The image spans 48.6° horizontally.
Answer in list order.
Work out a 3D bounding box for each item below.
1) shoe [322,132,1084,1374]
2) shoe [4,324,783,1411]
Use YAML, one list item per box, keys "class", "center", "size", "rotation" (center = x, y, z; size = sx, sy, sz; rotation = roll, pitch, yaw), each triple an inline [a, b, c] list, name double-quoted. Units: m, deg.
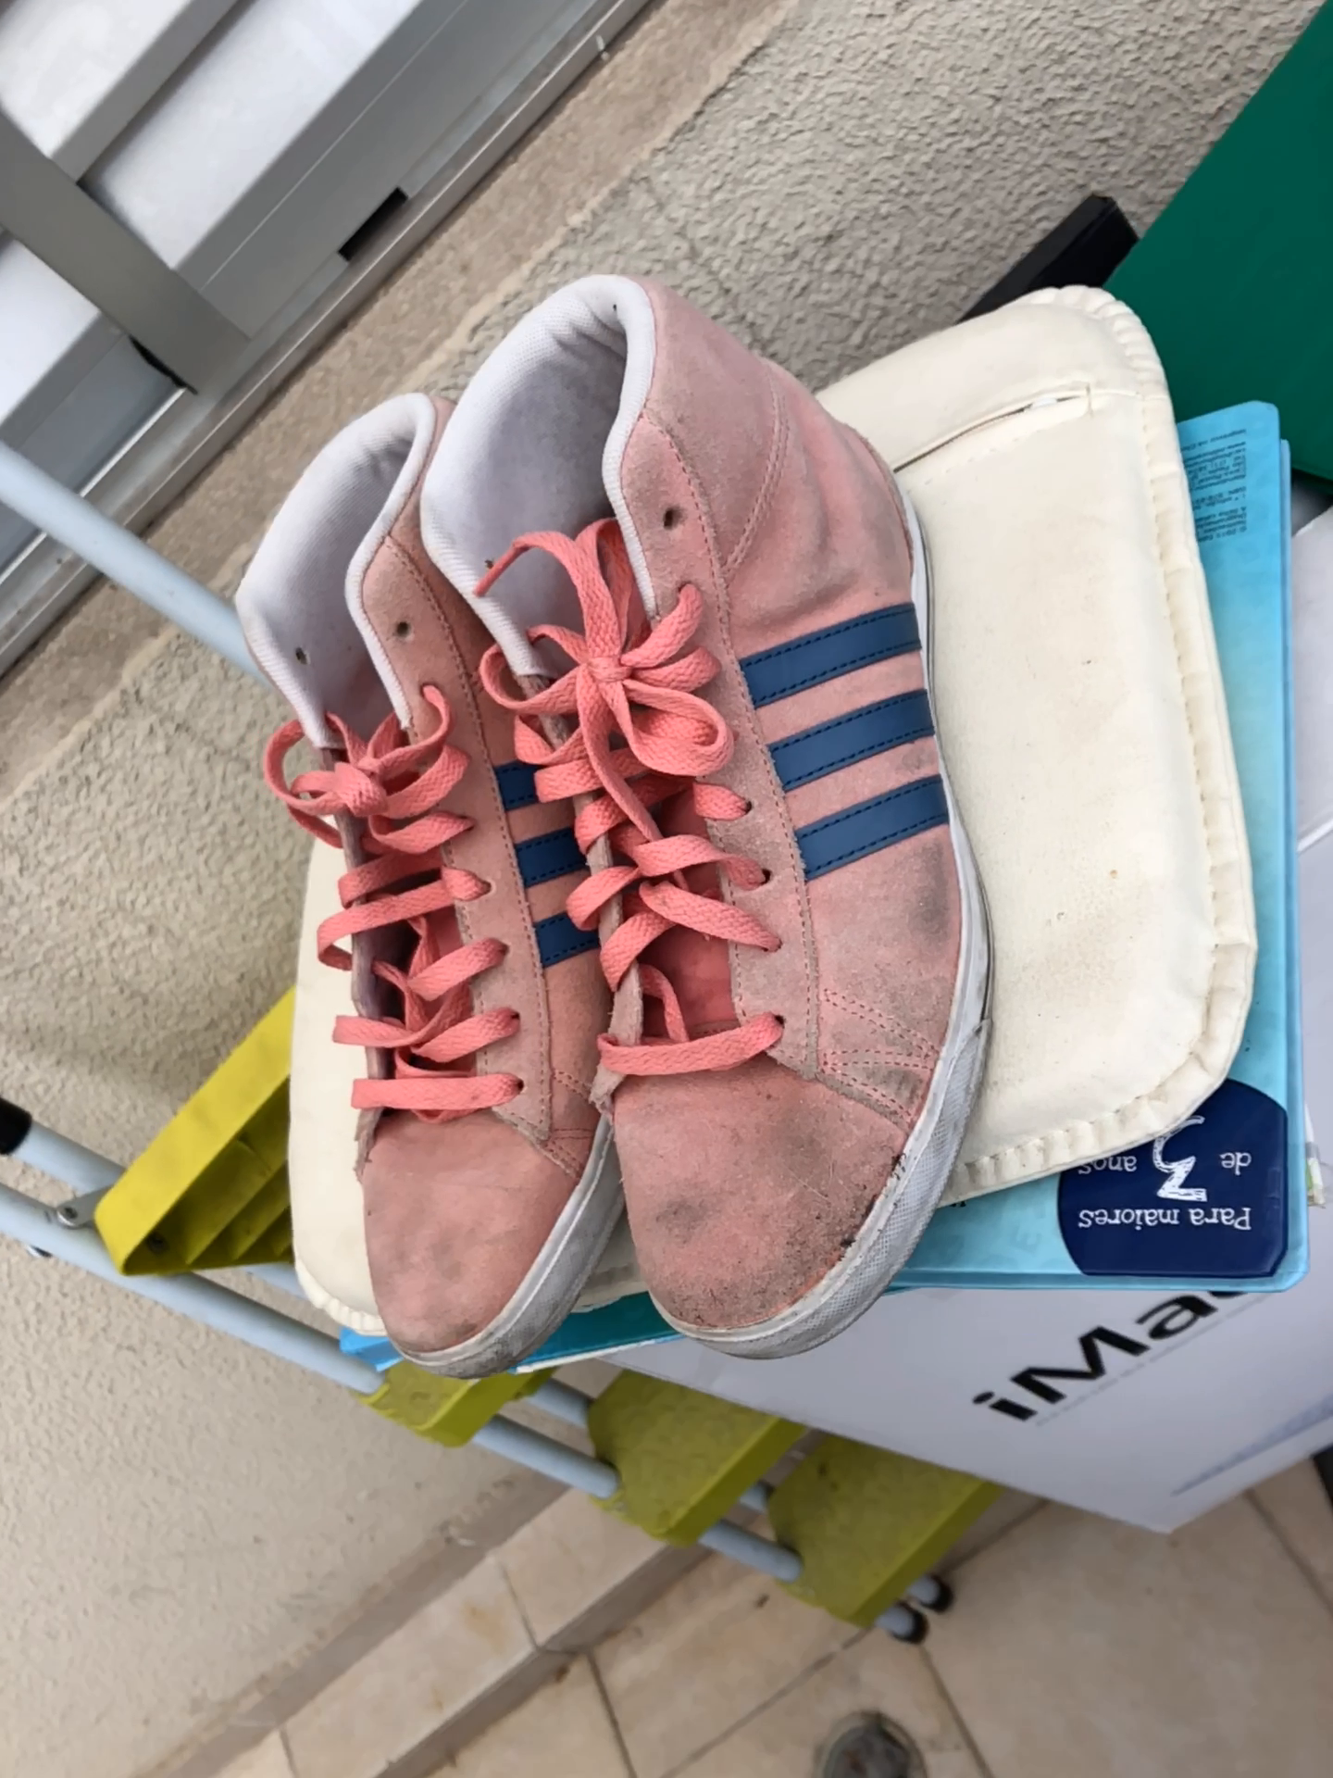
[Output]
- class: "shoe"
  center: [0.018, -0.027, 0.355]
  size: [0.100, 0.129, 0.251]
  rotation: [-15, 57, 30]
- class: "shoe"
  center: [-0.057, -0.001, 0.408]
  size: [0.100, 0.129, 0.251]
  rotation: [-8, 61, 34]
